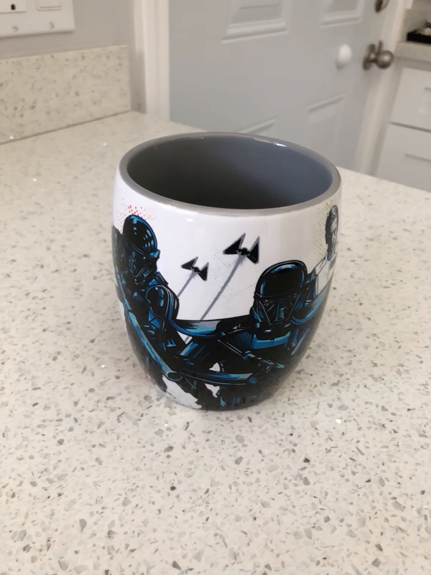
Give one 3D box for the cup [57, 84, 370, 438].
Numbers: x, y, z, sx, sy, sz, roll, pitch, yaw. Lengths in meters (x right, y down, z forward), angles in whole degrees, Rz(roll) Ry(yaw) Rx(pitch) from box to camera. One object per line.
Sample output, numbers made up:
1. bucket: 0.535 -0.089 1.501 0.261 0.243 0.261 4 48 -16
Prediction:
1. cup: 0.012 -0.027 0.234 0.100 0.100 0.140 10 35 11
